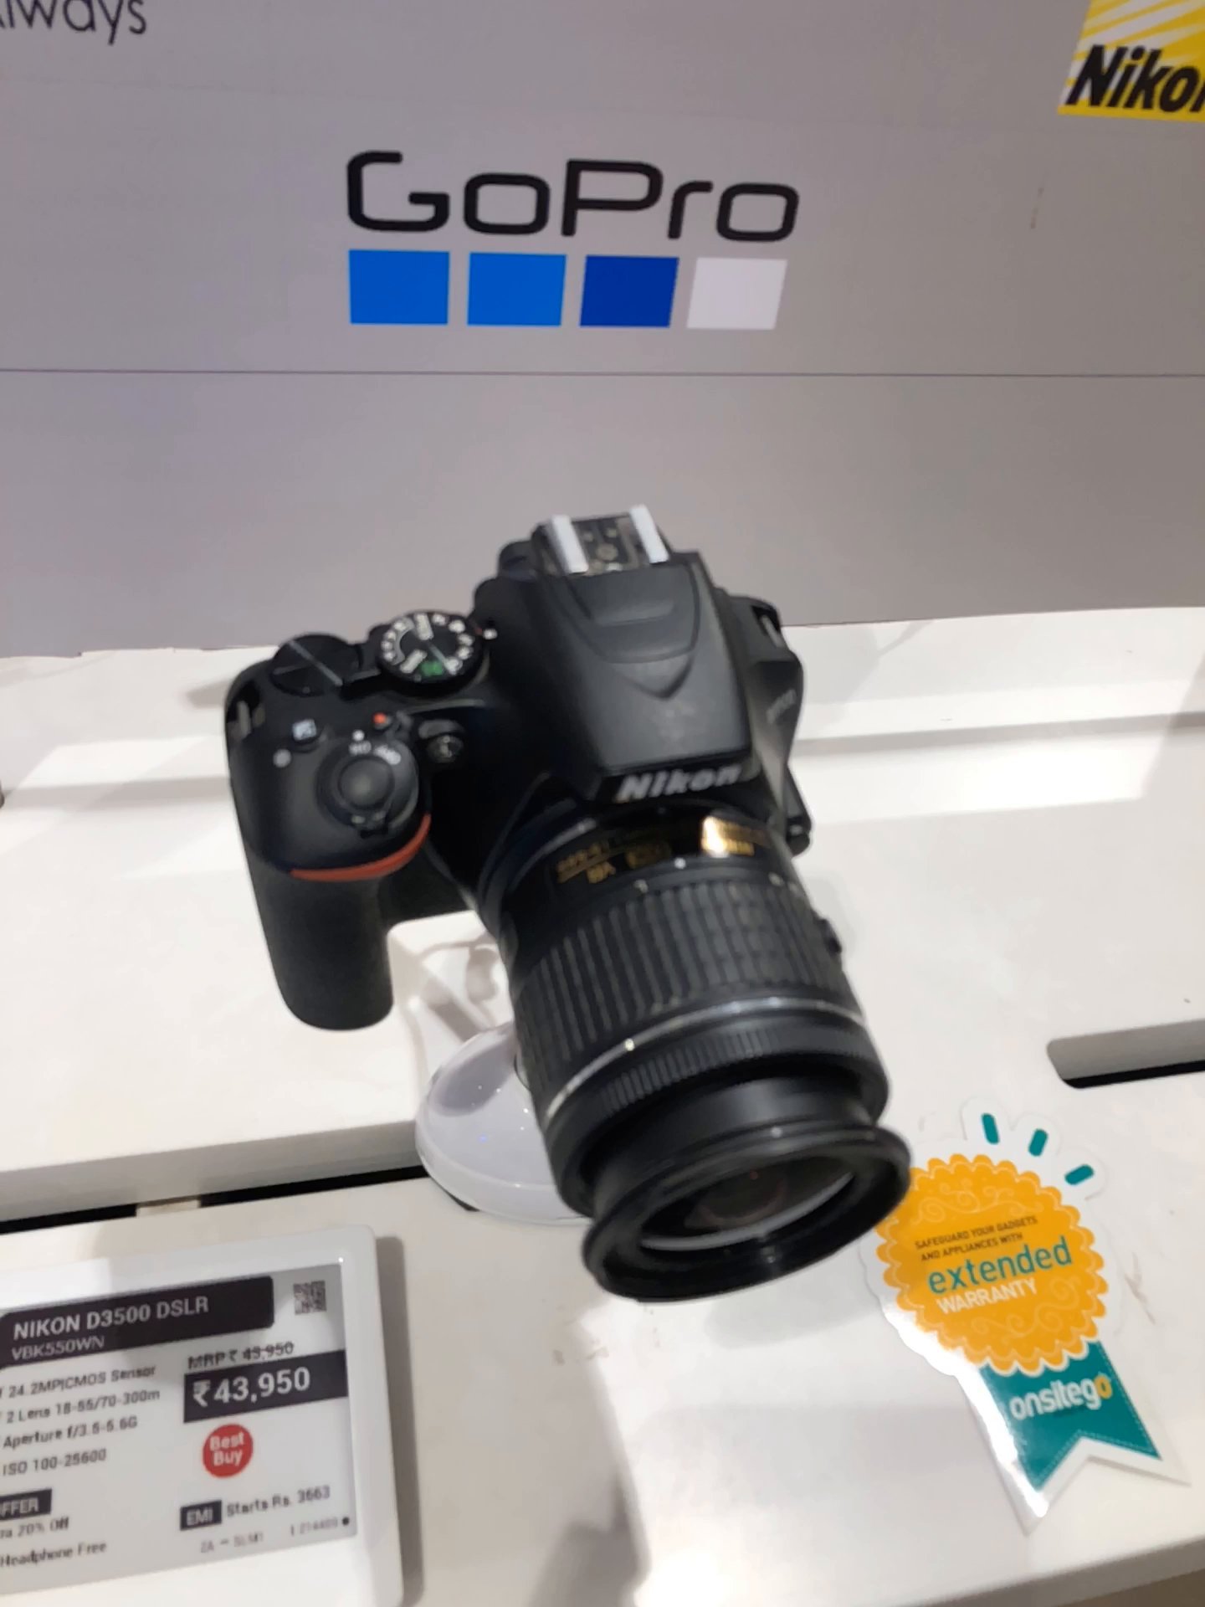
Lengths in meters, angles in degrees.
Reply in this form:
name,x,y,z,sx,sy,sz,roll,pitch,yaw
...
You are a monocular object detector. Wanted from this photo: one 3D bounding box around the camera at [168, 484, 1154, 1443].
name,x,y,z,sx,sy,sz,roll,pitch,yaw
camera,-0.004,0.019,0.234,0.120,0.089,0.121,-8,48,-16
